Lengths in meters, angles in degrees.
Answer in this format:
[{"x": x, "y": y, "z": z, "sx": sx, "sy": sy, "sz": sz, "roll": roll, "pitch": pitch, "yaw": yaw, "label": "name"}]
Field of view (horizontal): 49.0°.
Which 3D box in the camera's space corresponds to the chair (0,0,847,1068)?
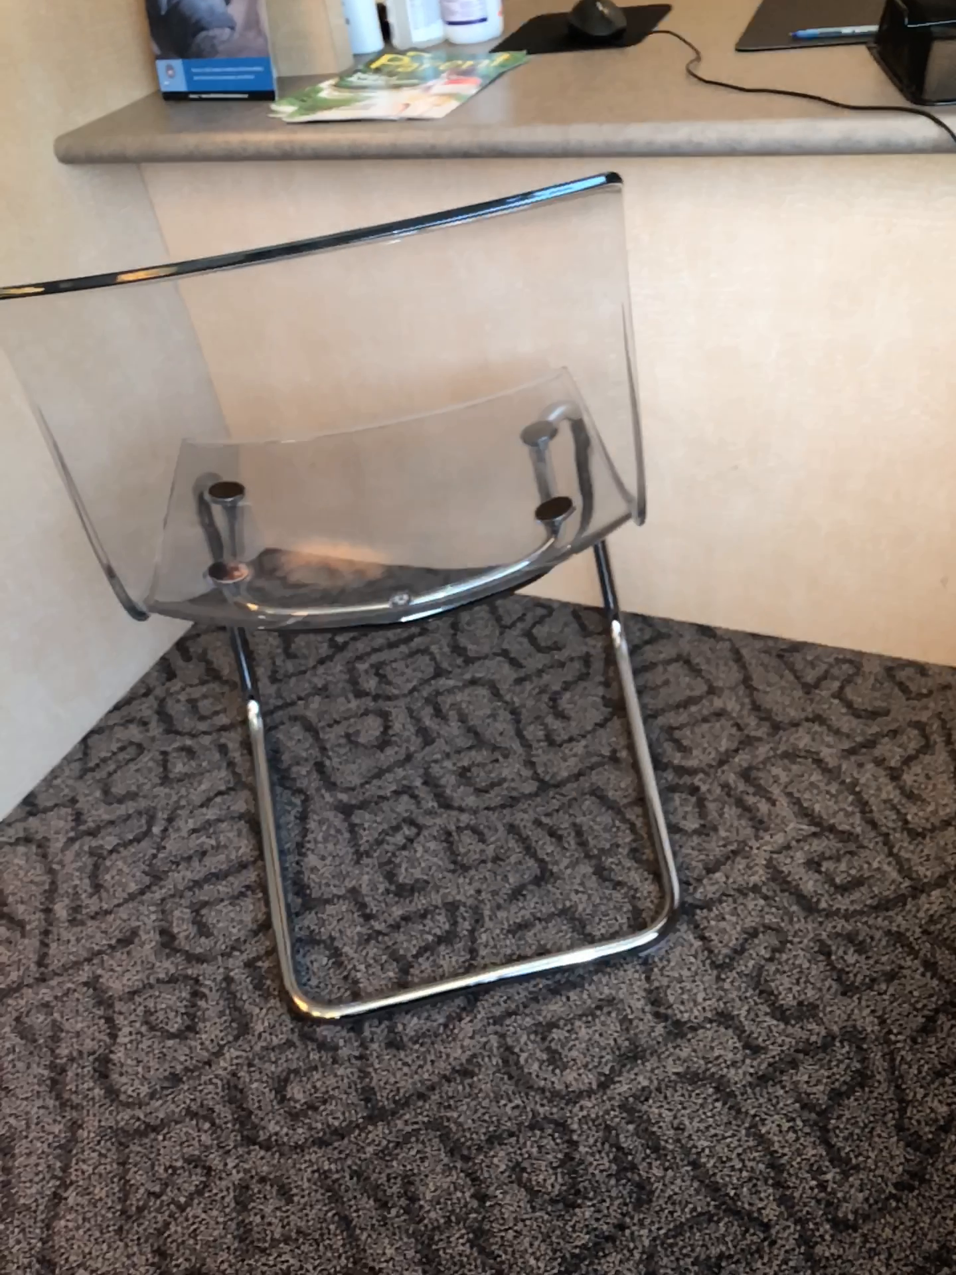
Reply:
[{"x": -0.075, "y": -0.122, "z": 1.095, "sx": 0.600, "sy": 0.804, "sz": 0.645, "roll": -12, "pitch": 38, "yaw": -2, "label": "chair"}]
